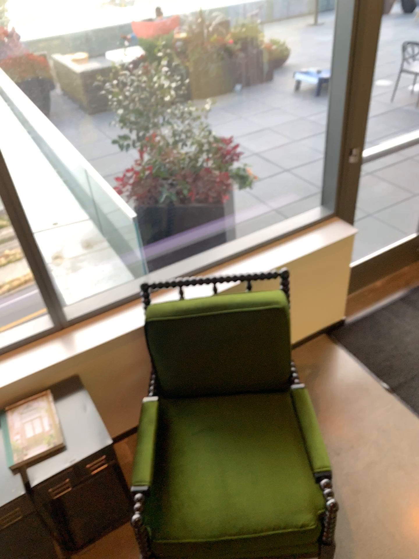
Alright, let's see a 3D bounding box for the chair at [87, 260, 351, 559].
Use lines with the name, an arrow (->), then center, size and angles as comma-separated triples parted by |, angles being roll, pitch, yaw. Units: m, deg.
chair -> 0.053, 0.617, 1.913 | 0.760, 0.985, 0.925 | -5, 38, 2
